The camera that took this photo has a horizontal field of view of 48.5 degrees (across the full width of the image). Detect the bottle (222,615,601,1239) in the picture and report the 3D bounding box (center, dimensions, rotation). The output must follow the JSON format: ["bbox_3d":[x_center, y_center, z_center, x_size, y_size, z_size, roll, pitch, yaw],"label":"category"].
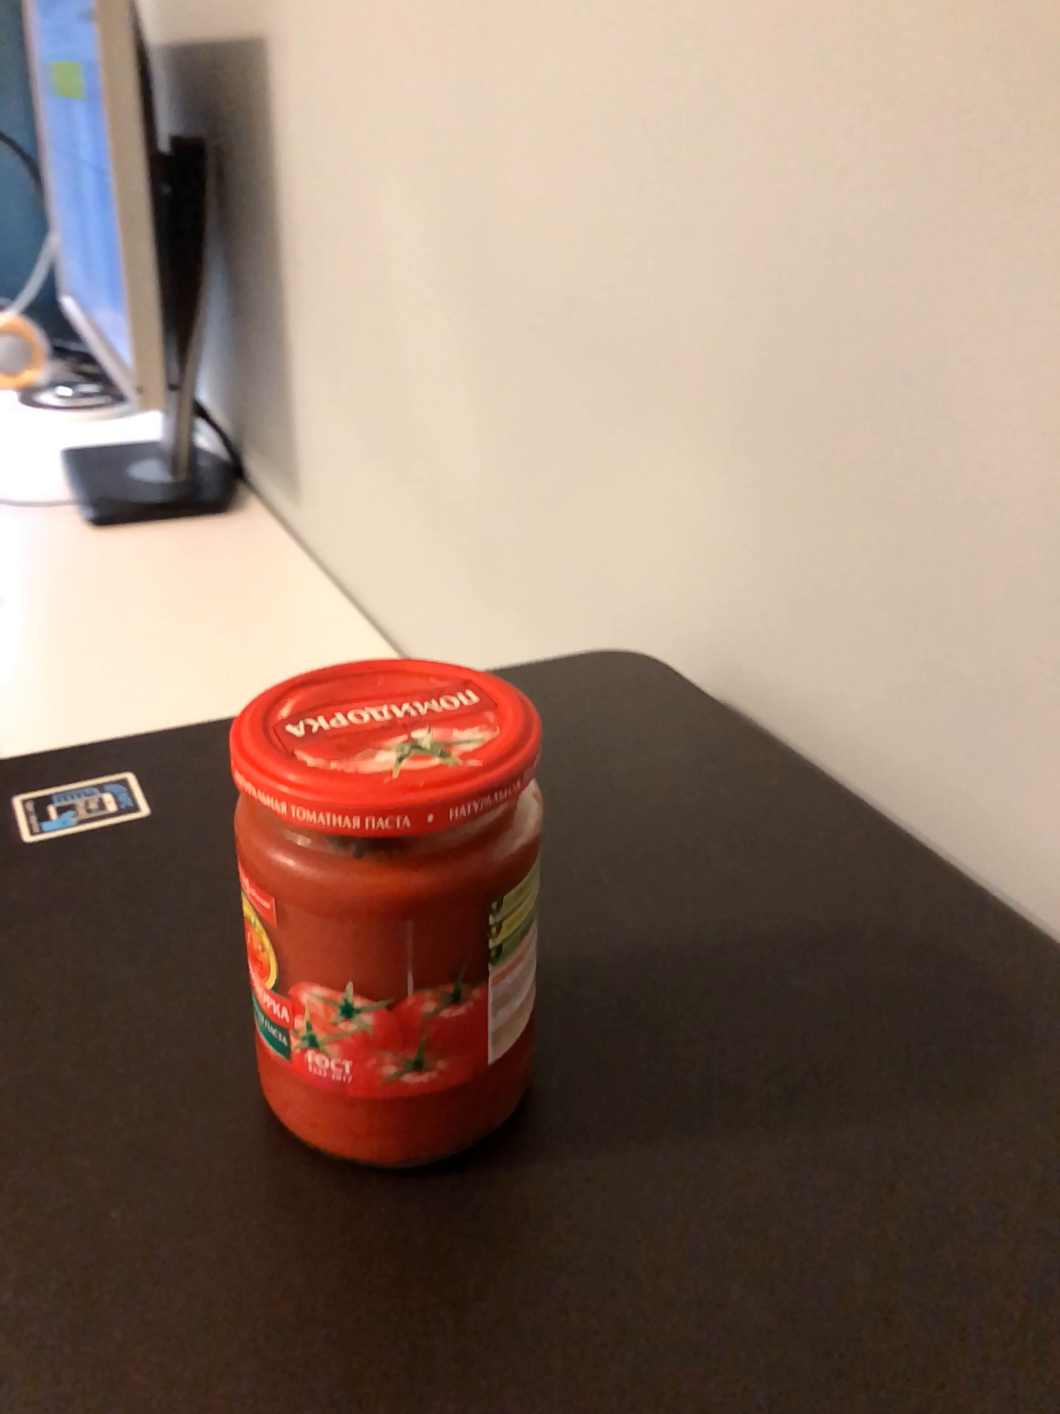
[{"bbox_3d":[-0.031,0.047,0.277,0.070,0.109,0.080,-5,28,-13],"label":"bottle"}]
